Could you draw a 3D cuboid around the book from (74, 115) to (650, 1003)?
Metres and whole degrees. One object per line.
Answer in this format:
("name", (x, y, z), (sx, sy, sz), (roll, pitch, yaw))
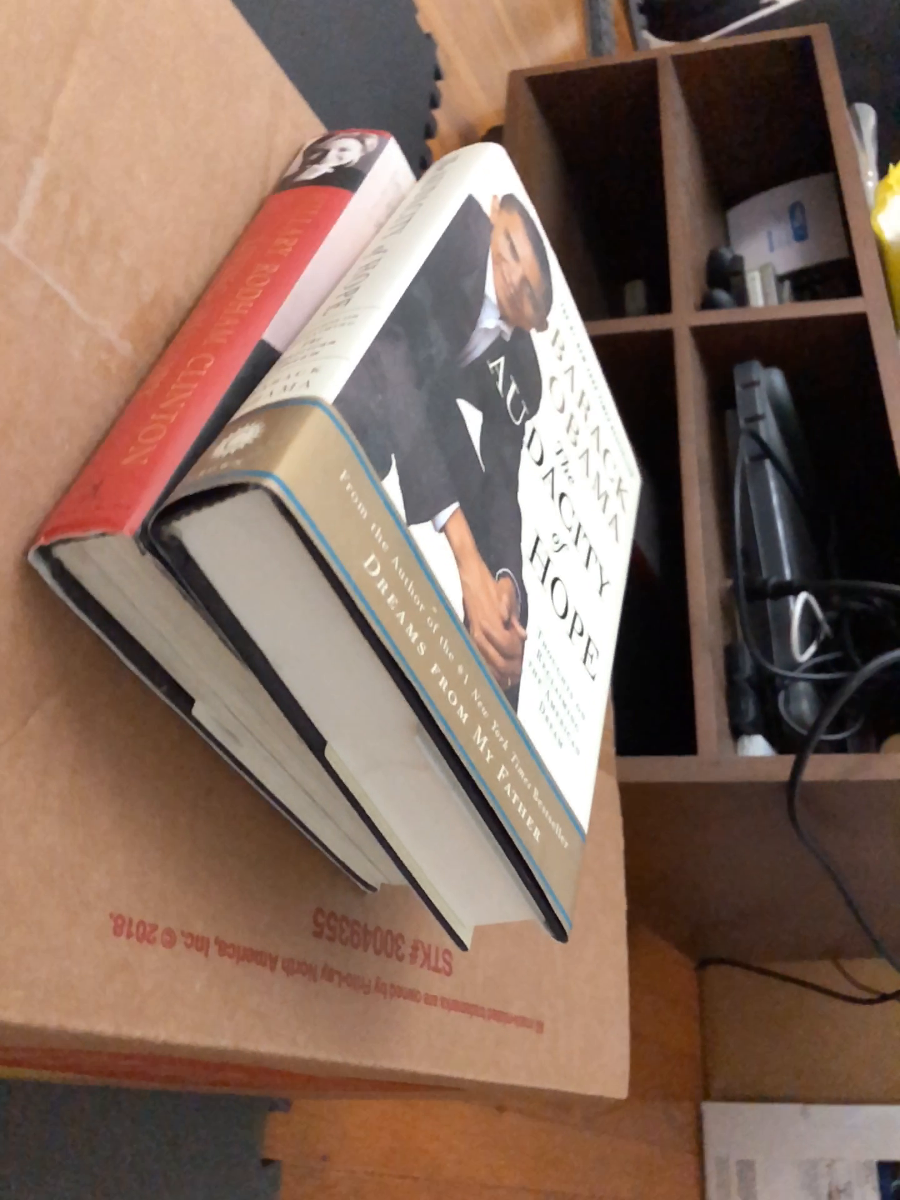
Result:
("book", (0.008, -0.031, 0.344), (0.190, 0.040, 0.251), (61, 31, -30))

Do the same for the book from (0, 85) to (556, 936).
("book", (-0.028, -0.043, 0.347), (0.170, 0.040, 0.251), (57, 33, -35))
